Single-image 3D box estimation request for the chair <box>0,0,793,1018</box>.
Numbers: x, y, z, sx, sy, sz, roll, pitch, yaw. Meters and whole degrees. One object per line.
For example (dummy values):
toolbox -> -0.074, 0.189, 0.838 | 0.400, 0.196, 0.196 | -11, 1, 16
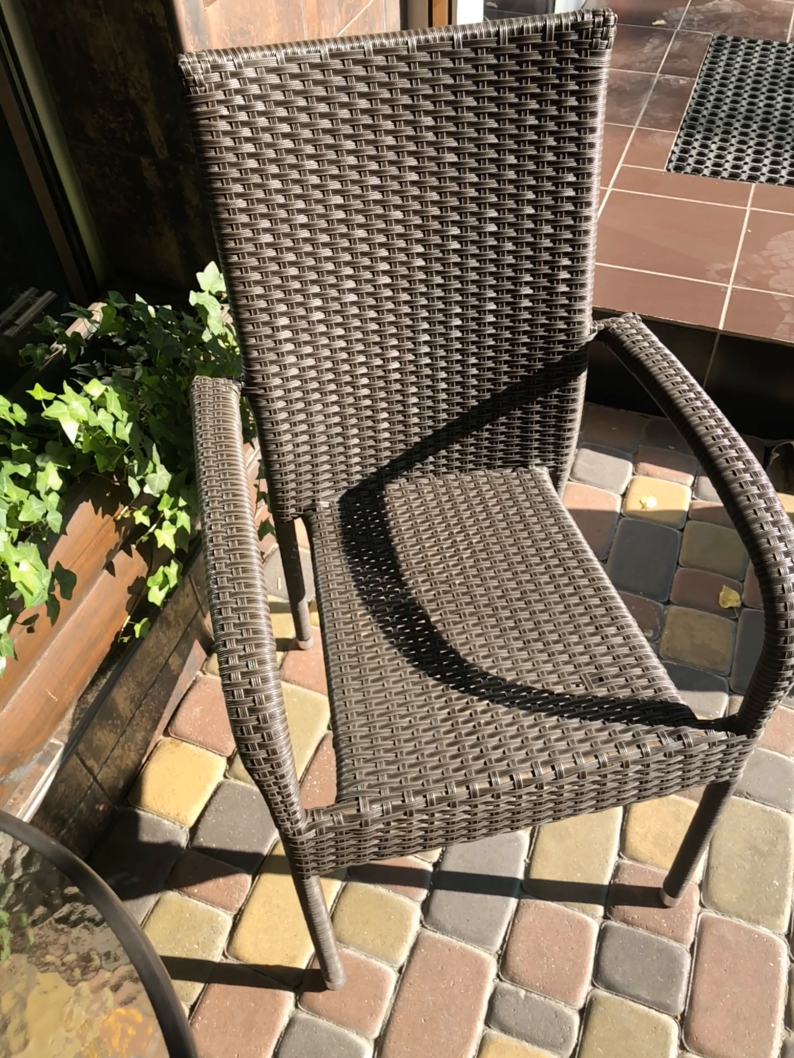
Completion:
chair -> 0.042, 0.023, 1.049 | 0.610, 0.907, 0.722 | -10, 50, -6
